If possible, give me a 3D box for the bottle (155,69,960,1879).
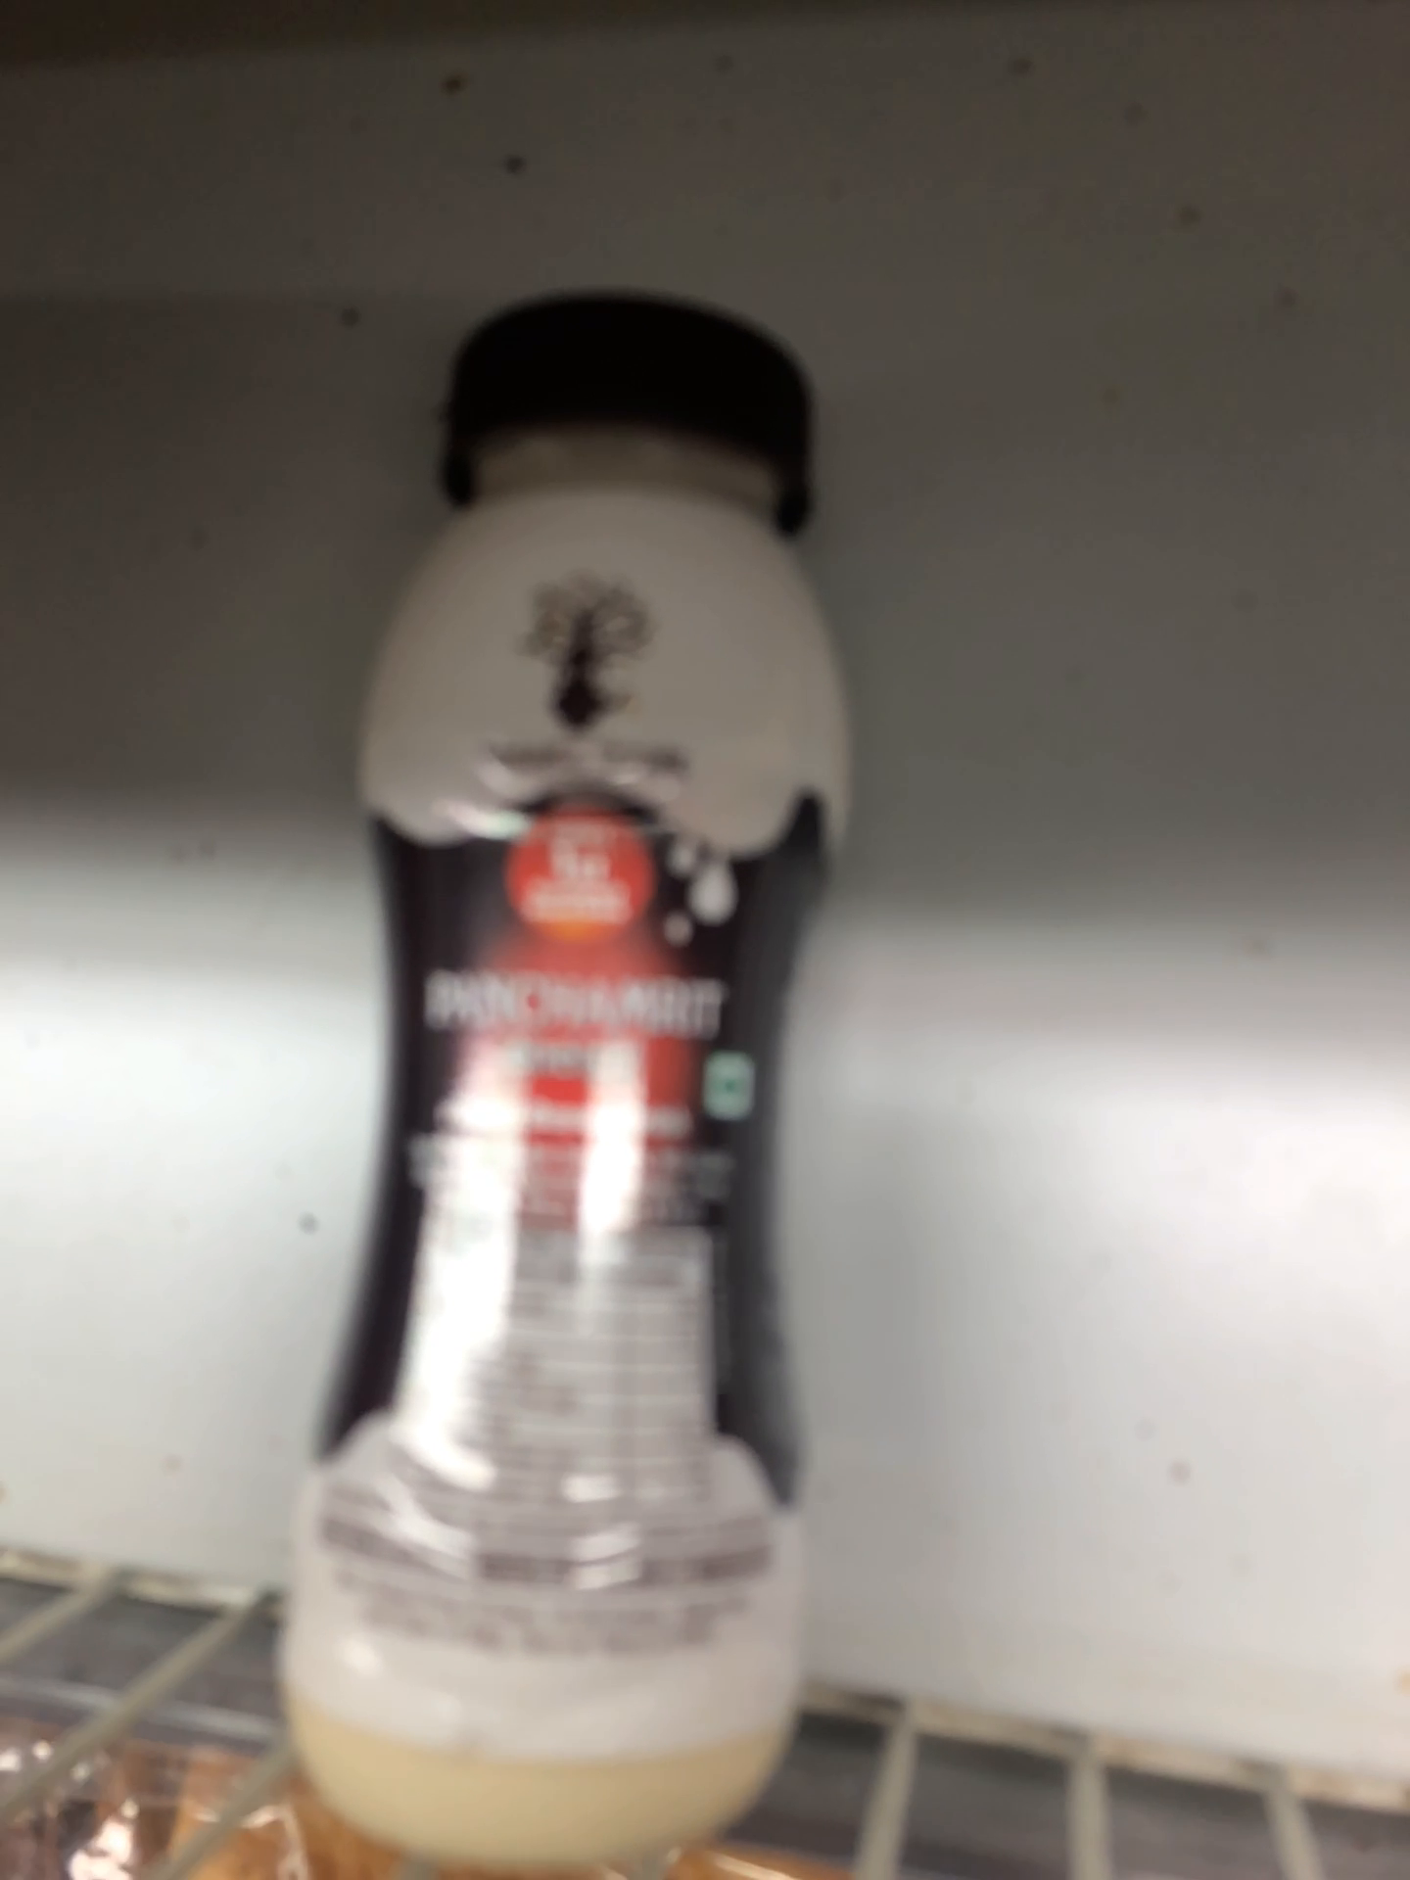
[{"bbox_3d":[-0.010,0.002,0.164,0.060,0.060,0.160,3,84,3],"label":"bottle"}]
